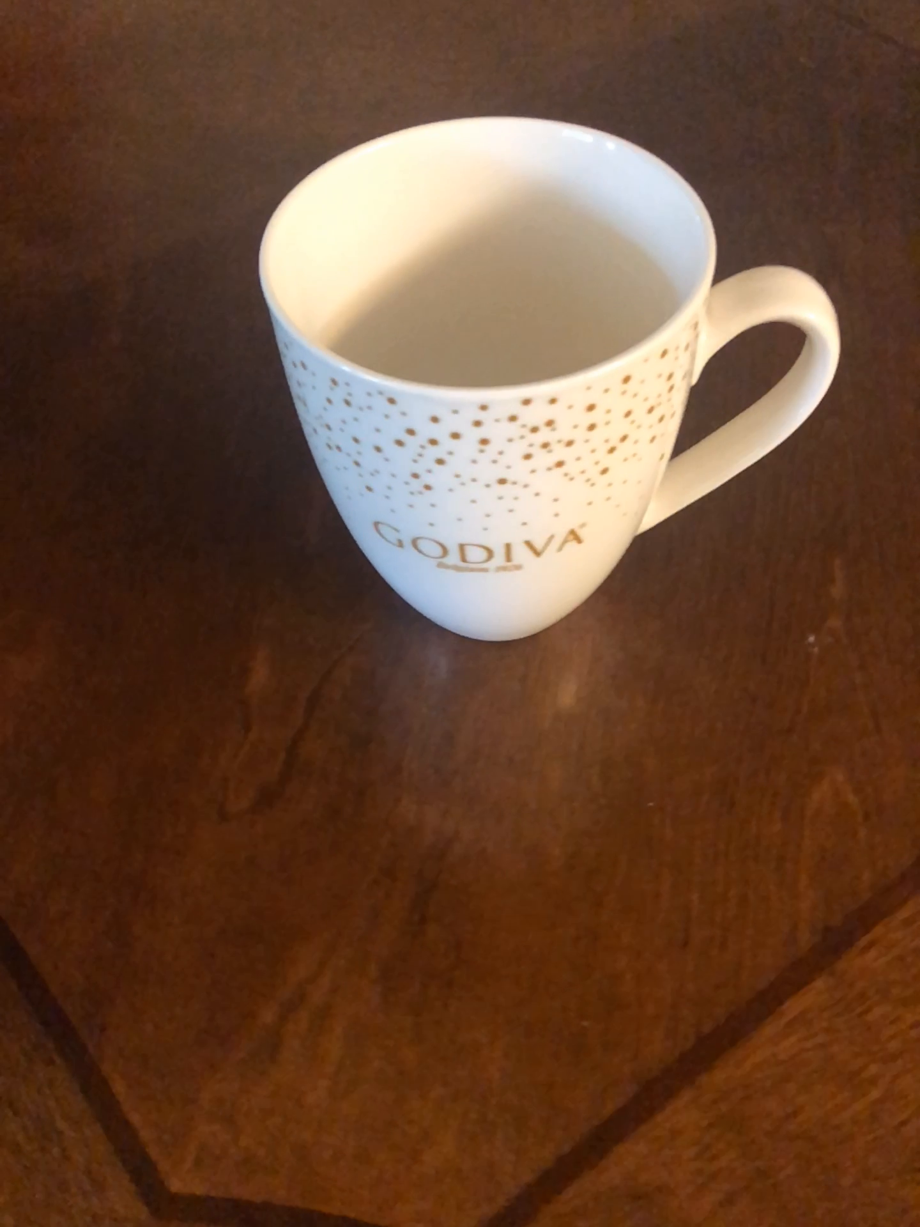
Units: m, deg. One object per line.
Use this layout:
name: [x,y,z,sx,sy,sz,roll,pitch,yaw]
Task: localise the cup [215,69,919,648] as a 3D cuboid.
cup: [0.026,-0.061,0.261,0.140,0.099,0.101,-1,56,2]
